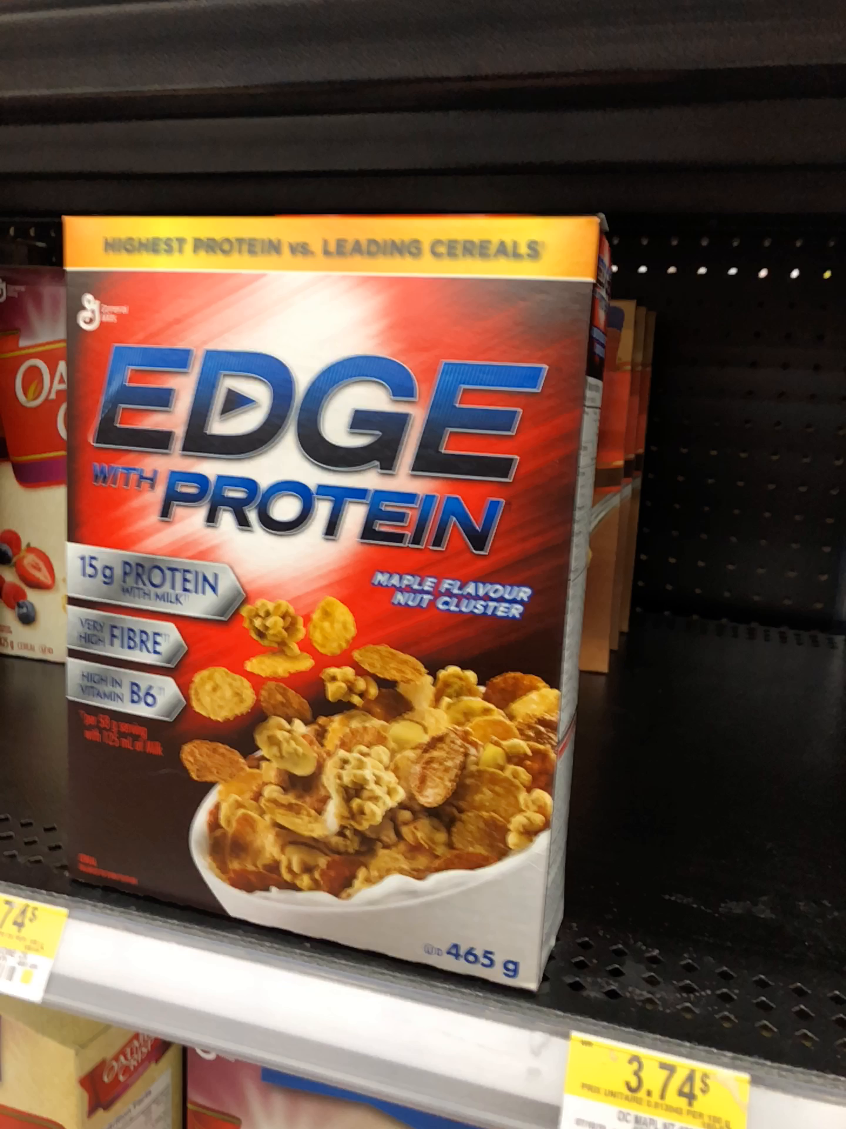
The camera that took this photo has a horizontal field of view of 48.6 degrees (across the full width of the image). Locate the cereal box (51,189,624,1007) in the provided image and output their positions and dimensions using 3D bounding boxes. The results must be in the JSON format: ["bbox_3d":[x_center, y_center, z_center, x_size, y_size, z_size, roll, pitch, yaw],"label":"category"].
[{"bbox_3d":[-0.040,0.004,0.361,0.200,0.269,0.060,6,10,18],"label":"cereal box"}]
